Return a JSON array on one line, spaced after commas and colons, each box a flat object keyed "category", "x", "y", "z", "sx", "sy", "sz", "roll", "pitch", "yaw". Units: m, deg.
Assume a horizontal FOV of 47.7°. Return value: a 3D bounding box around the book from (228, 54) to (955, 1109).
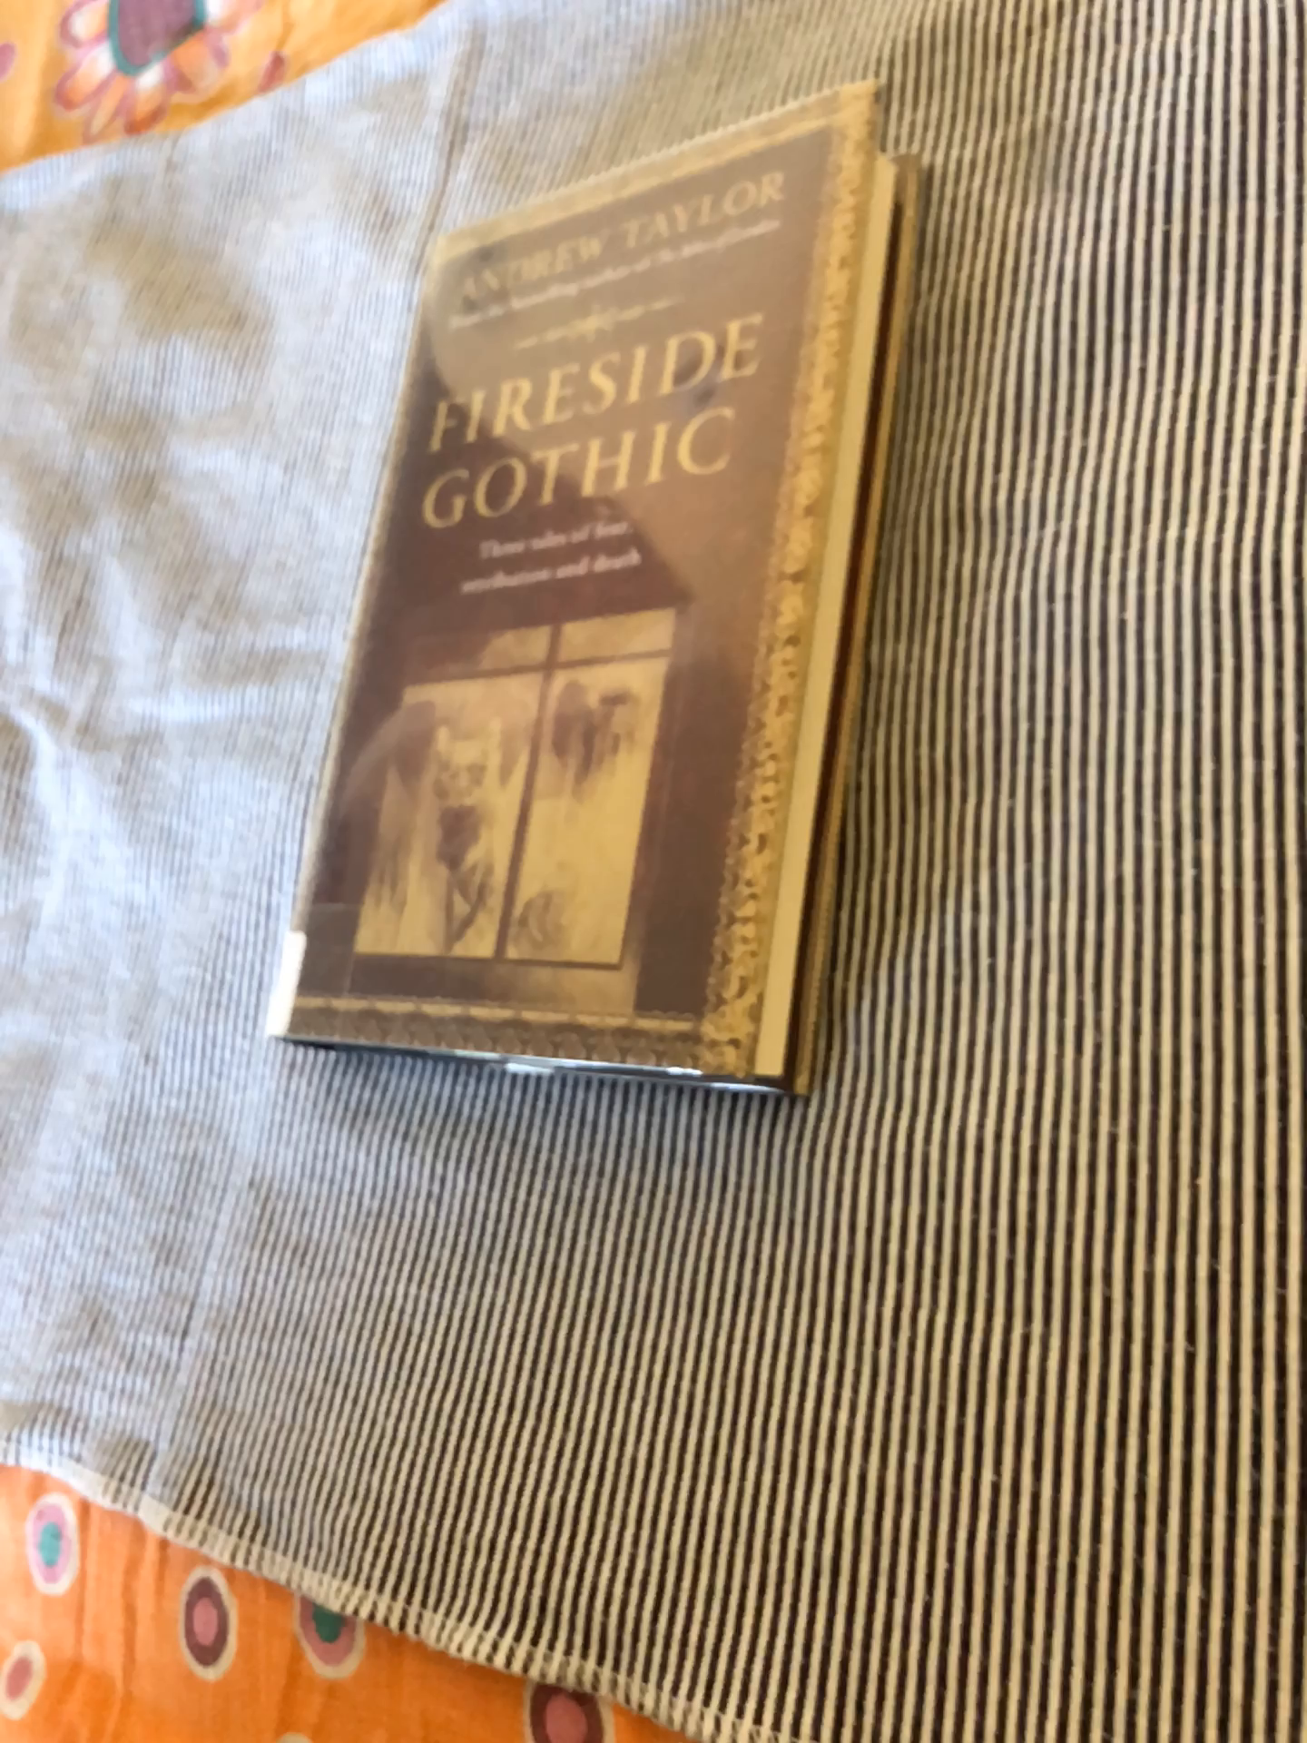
[{"category": "book", "x": -0.015, "y": -0.063, "z": 0.333, "sx": 0.140, "sy": 0.027, "sz": 0.216, "roll": 0, "pitch": 73, "yaw": 35}]
